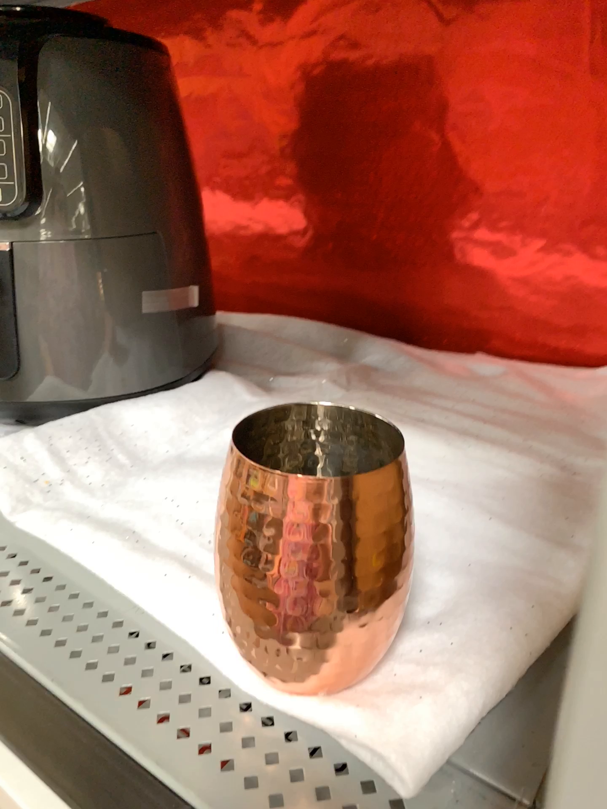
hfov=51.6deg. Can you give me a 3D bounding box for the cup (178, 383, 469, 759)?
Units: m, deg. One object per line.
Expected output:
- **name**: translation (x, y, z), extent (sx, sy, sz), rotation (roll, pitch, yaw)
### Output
- **cup**: translation (0.010, 0.060, 0.261), extent (0.078, 0.104, 0.080), rotation (-1, 23, 1)
